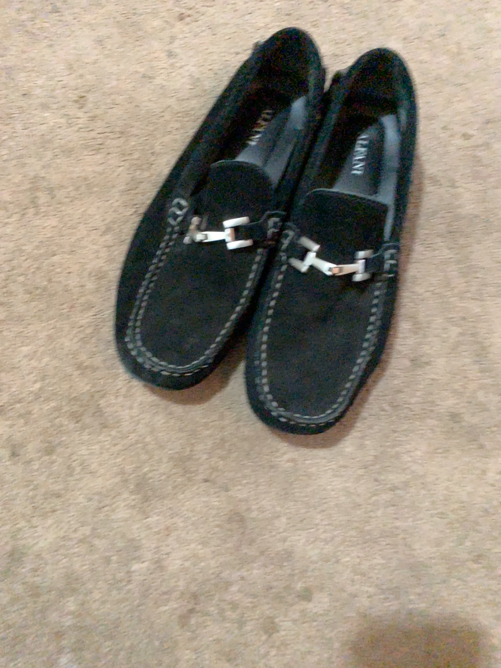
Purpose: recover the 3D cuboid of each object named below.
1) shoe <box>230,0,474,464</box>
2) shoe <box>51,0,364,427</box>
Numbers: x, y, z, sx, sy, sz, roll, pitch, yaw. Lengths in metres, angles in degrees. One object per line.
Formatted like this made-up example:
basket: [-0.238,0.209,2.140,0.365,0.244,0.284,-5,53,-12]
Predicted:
shoe: [0.068,-0.073,0.355,0.100,0.100,0.301,12,75,2]
shoe: [-0.016,-0.100,0.352,0.100,0.100,0.301,16,75,3]
